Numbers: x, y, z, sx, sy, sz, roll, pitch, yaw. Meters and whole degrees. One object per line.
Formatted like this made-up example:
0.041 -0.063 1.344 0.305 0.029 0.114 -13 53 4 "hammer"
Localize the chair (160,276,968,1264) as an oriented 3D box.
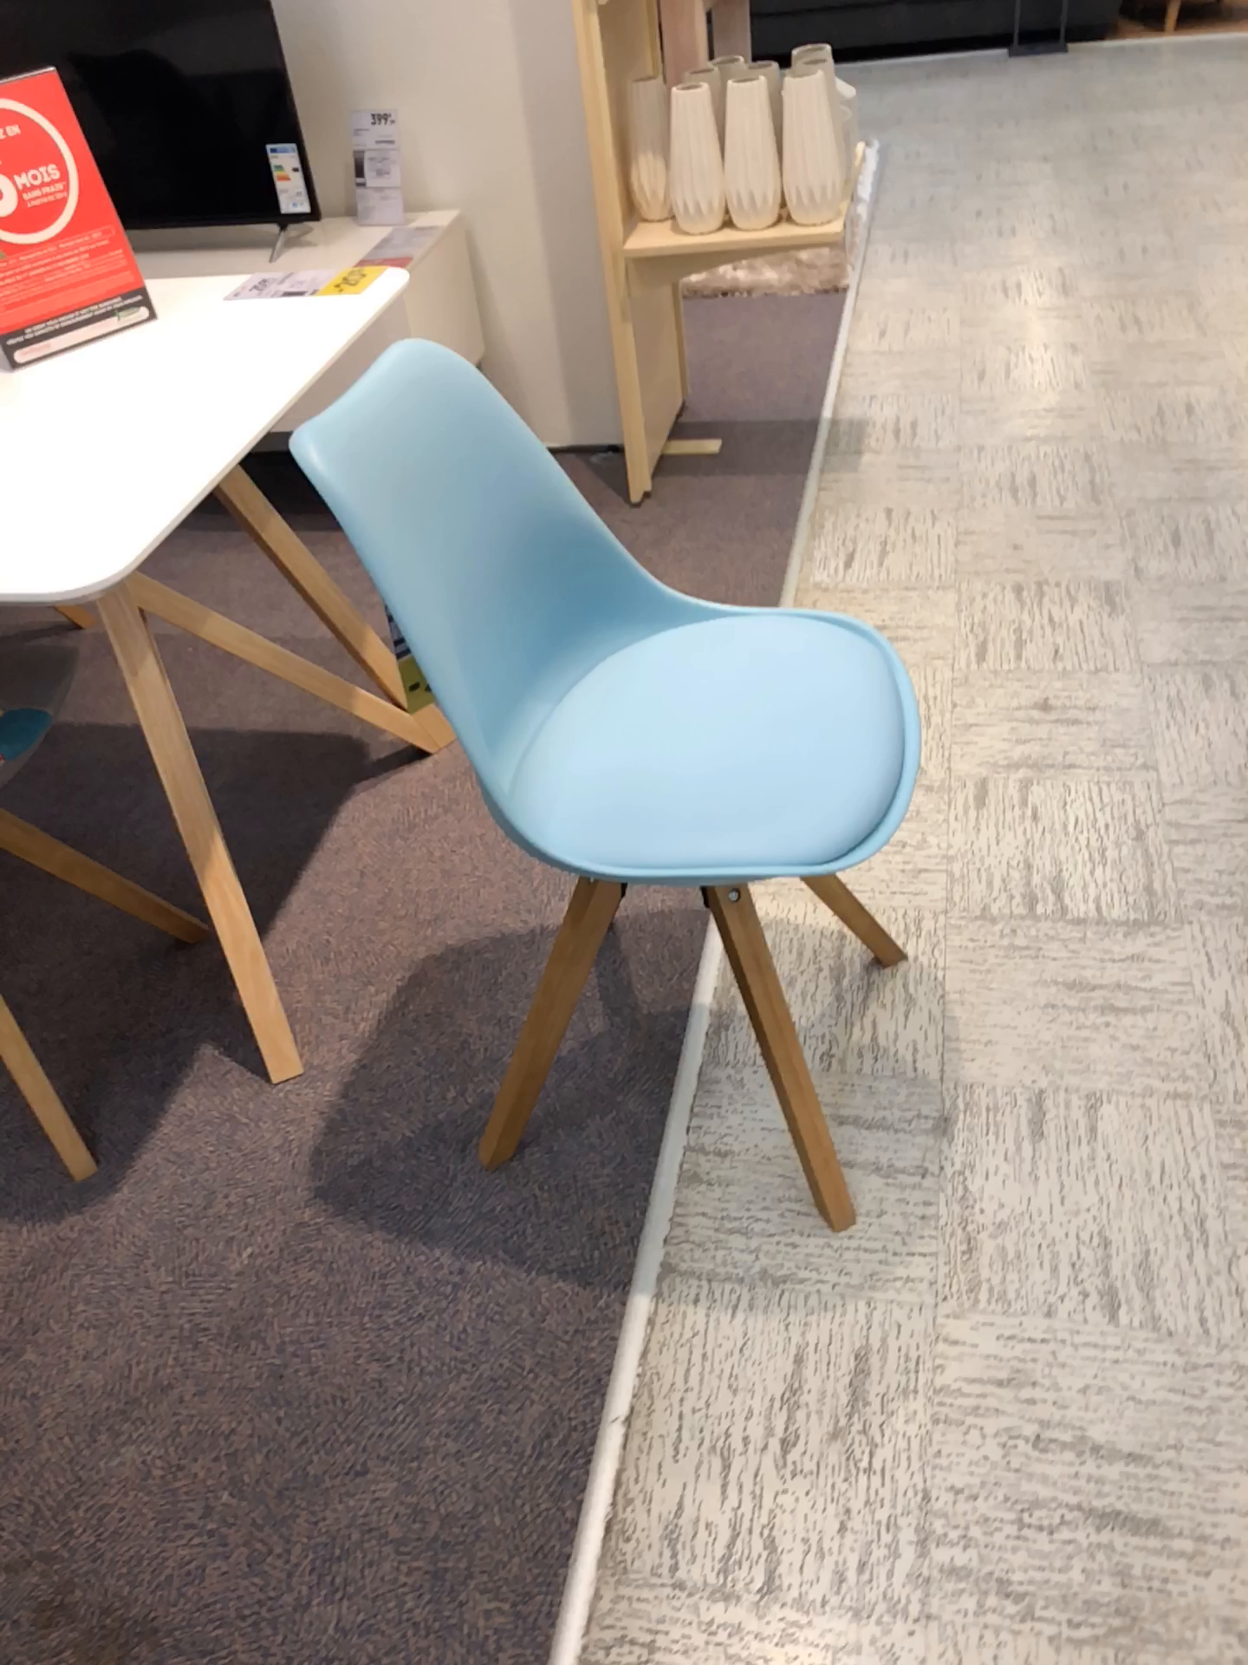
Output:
0.028 -0.069 1.402 0.560 0.795 0.543 5 39 15 "chair"
